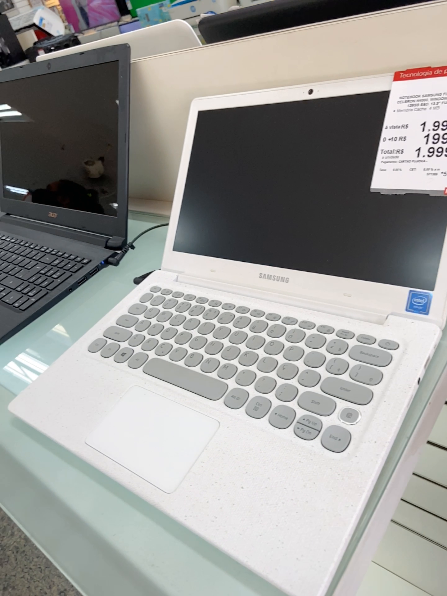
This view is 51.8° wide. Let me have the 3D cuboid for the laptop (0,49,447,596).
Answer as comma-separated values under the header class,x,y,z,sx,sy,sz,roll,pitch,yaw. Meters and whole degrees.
class,x,y,z,sx,sy,sz,roll,pitch,yaw
laptop,0.005,-0.041,0.382,0.315,0.140,0.361,12,48,38
